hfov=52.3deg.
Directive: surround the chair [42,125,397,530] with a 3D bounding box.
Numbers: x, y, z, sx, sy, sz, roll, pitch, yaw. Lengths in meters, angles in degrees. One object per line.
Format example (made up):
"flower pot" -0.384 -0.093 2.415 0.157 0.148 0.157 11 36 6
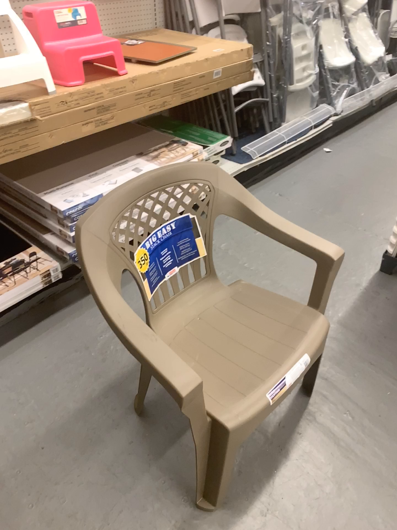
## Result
"chair" 0.095 0.154 1.314 0.589 0.878 0.768 31 48 34
